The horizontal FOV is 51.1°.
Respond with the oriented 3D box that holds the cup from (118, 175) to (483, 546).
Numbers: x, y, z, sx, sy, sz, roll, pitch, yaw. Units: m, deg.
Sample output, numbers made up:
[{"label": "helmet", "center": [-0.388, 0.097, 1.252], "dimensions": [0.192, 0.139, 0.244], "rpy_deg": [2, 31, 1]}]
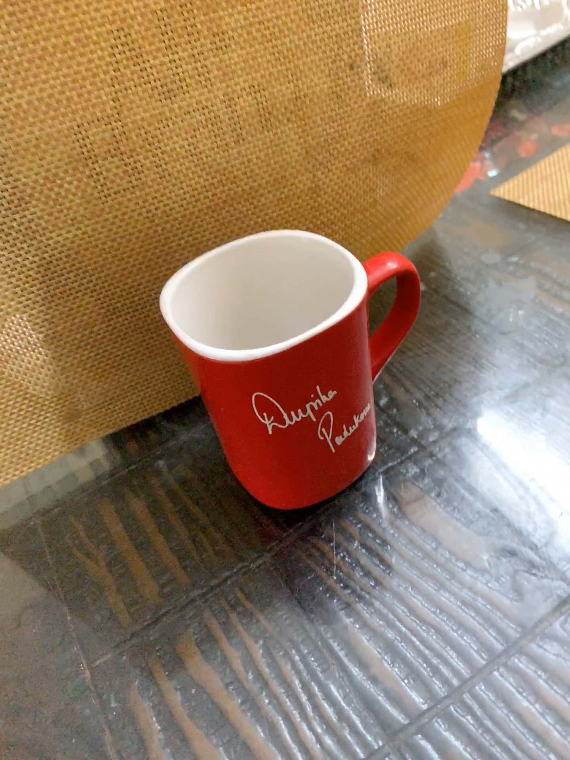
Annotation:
[{"label": "cup", "center": [0.008, -0.010, 0.223], "dimensions": [0.100, 0.079, 0.071], "rpy_deg": [-27, 44, -13]}]
